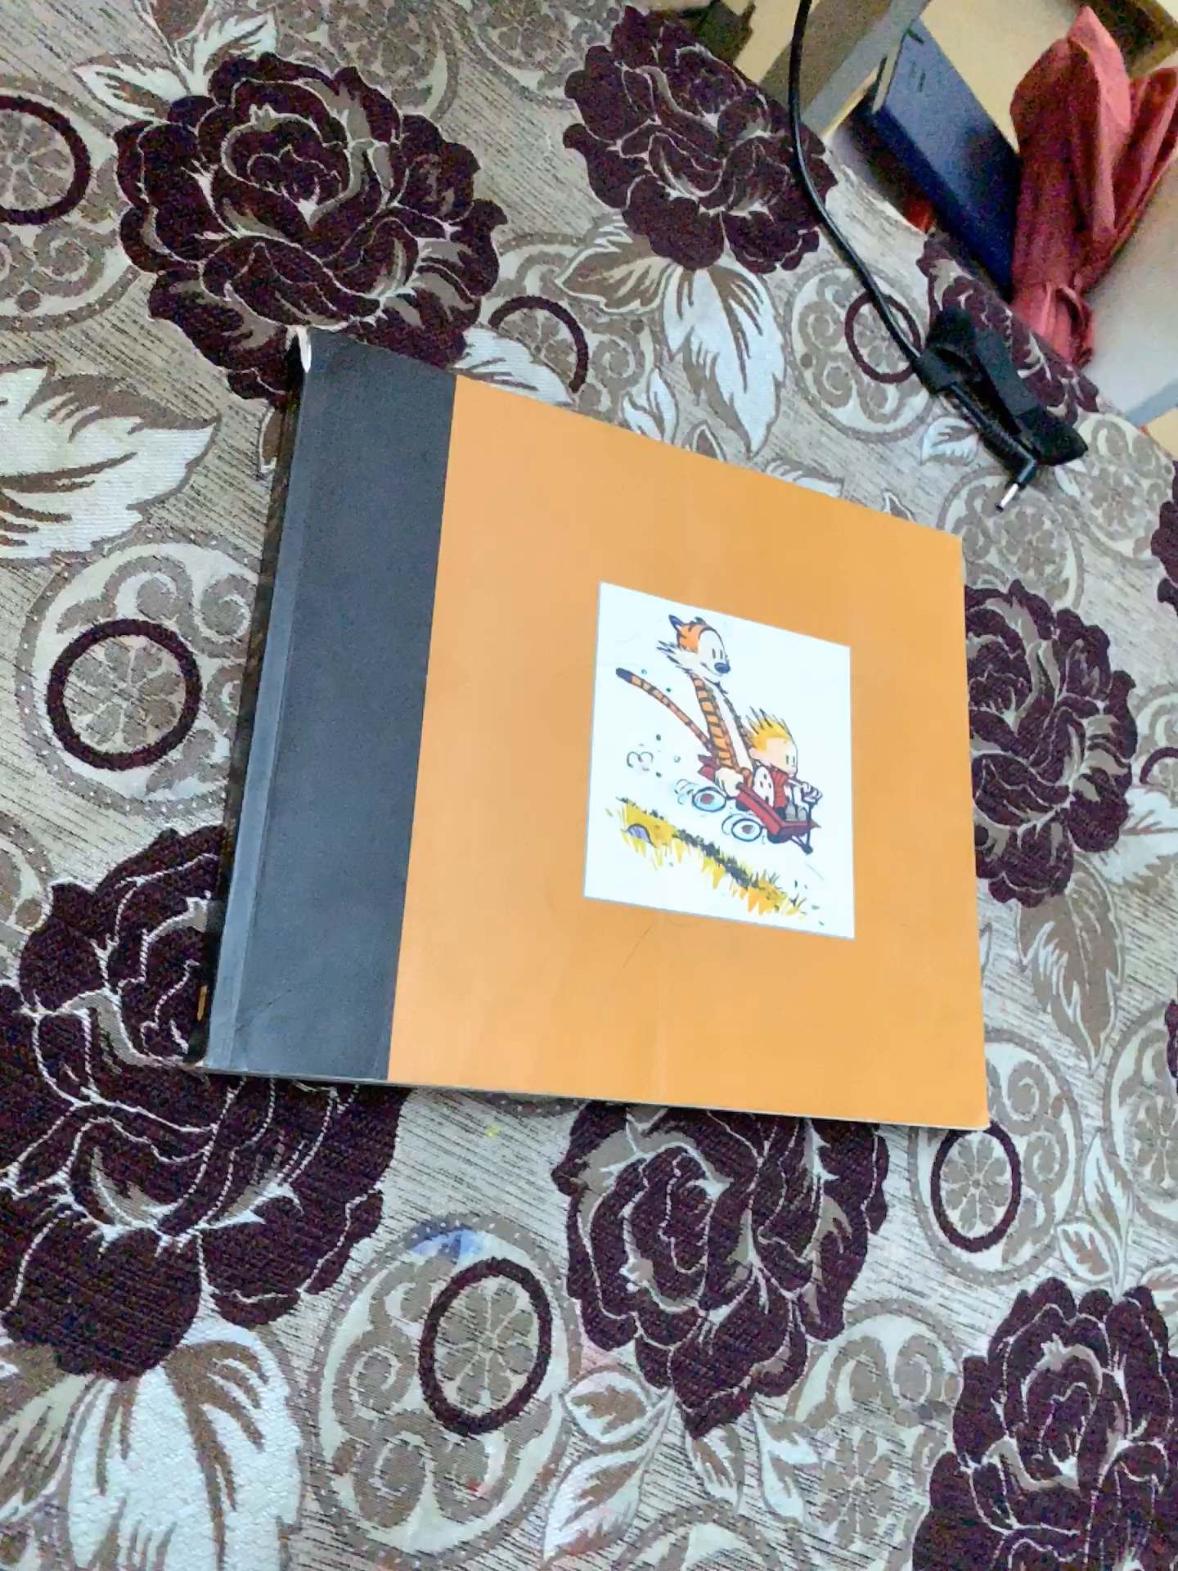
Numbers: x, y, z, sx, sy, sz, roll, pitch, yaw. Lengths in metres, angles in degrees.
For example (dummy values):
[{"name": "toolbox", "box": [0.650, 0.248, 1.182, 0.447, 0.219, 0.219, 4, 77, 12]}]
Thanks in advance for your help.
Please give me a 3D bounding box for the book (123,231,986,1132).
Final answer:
[{"name": "book", "box": [0.007, -0.024, 0.412, 0.271, 0.040, 0.261, 10, 70, -24]}]
